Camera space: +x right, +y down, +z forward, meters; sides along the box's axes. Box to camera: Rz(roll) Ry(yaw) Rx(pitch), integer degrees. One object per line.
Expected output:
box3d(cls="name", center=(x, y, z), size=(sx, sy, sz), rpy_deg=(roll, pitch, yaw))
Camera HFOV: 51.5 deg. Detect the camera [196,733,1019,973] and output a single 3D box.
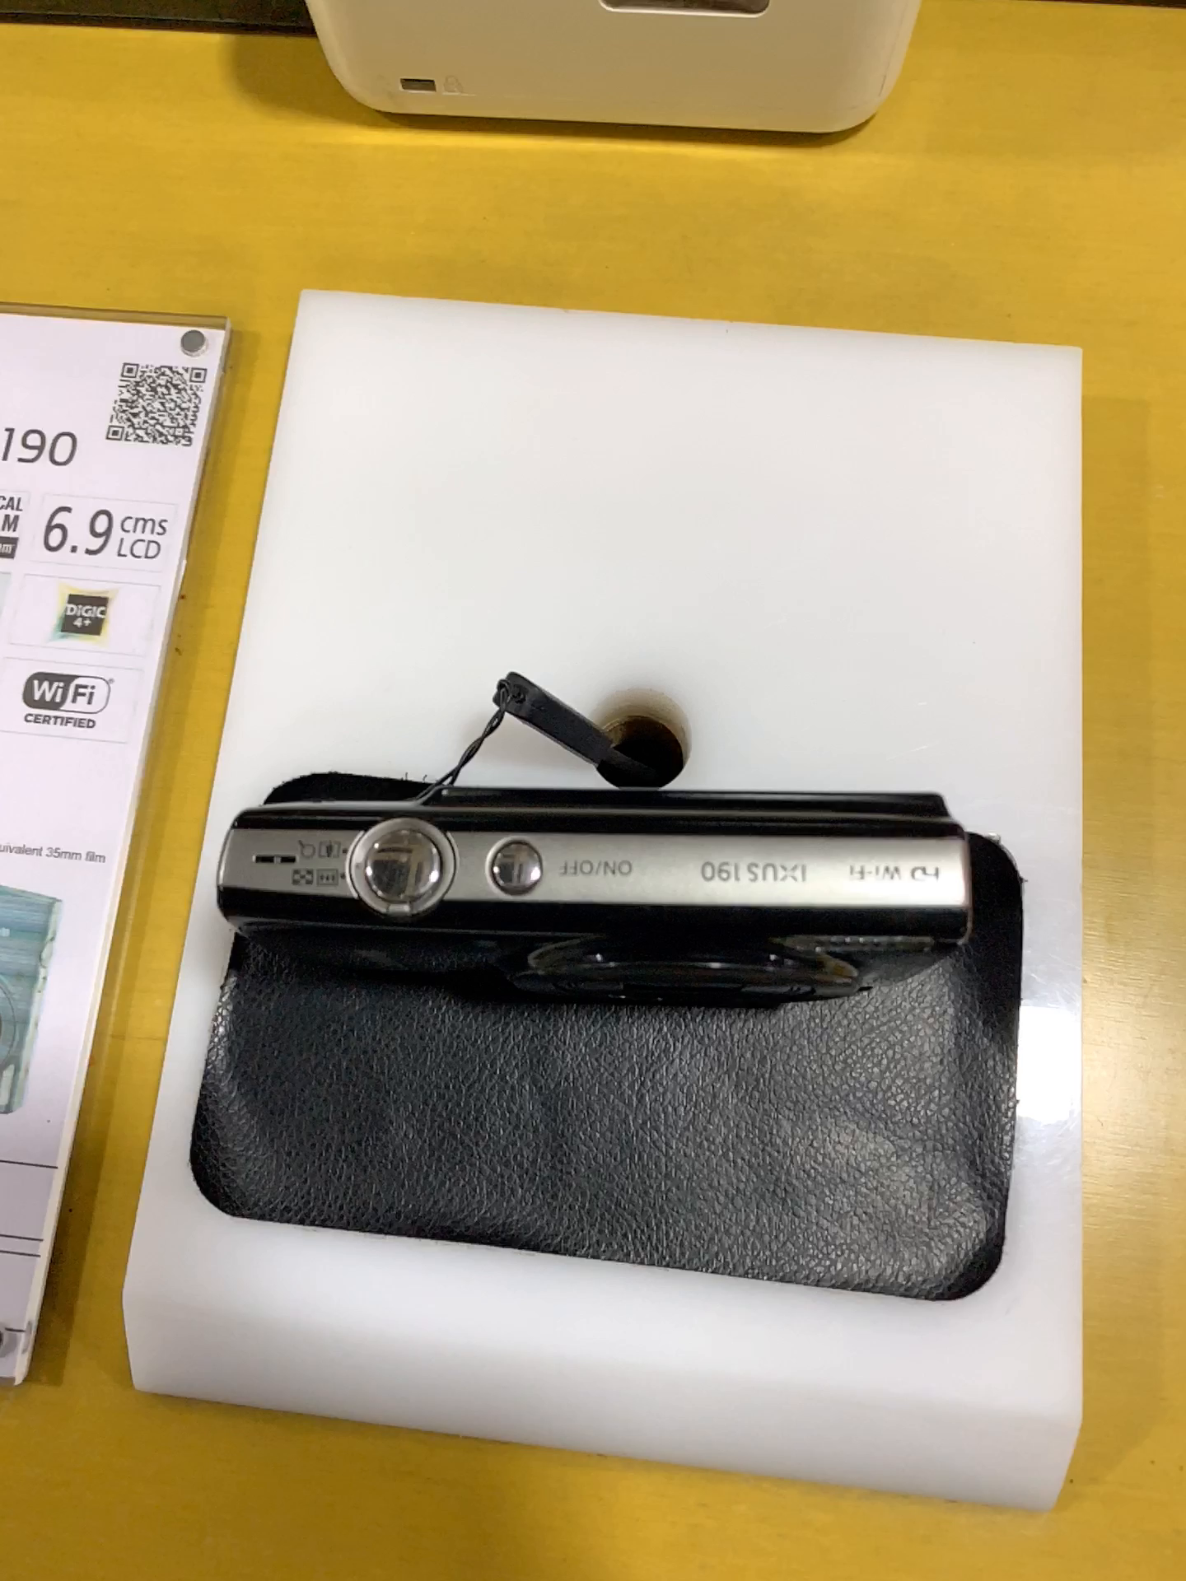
box3d(cls="camera", center=(0.002, 0.011, 0.166), size=(0.090, 0.060, 0.020), rpy_deg=(1, 76, 2))
